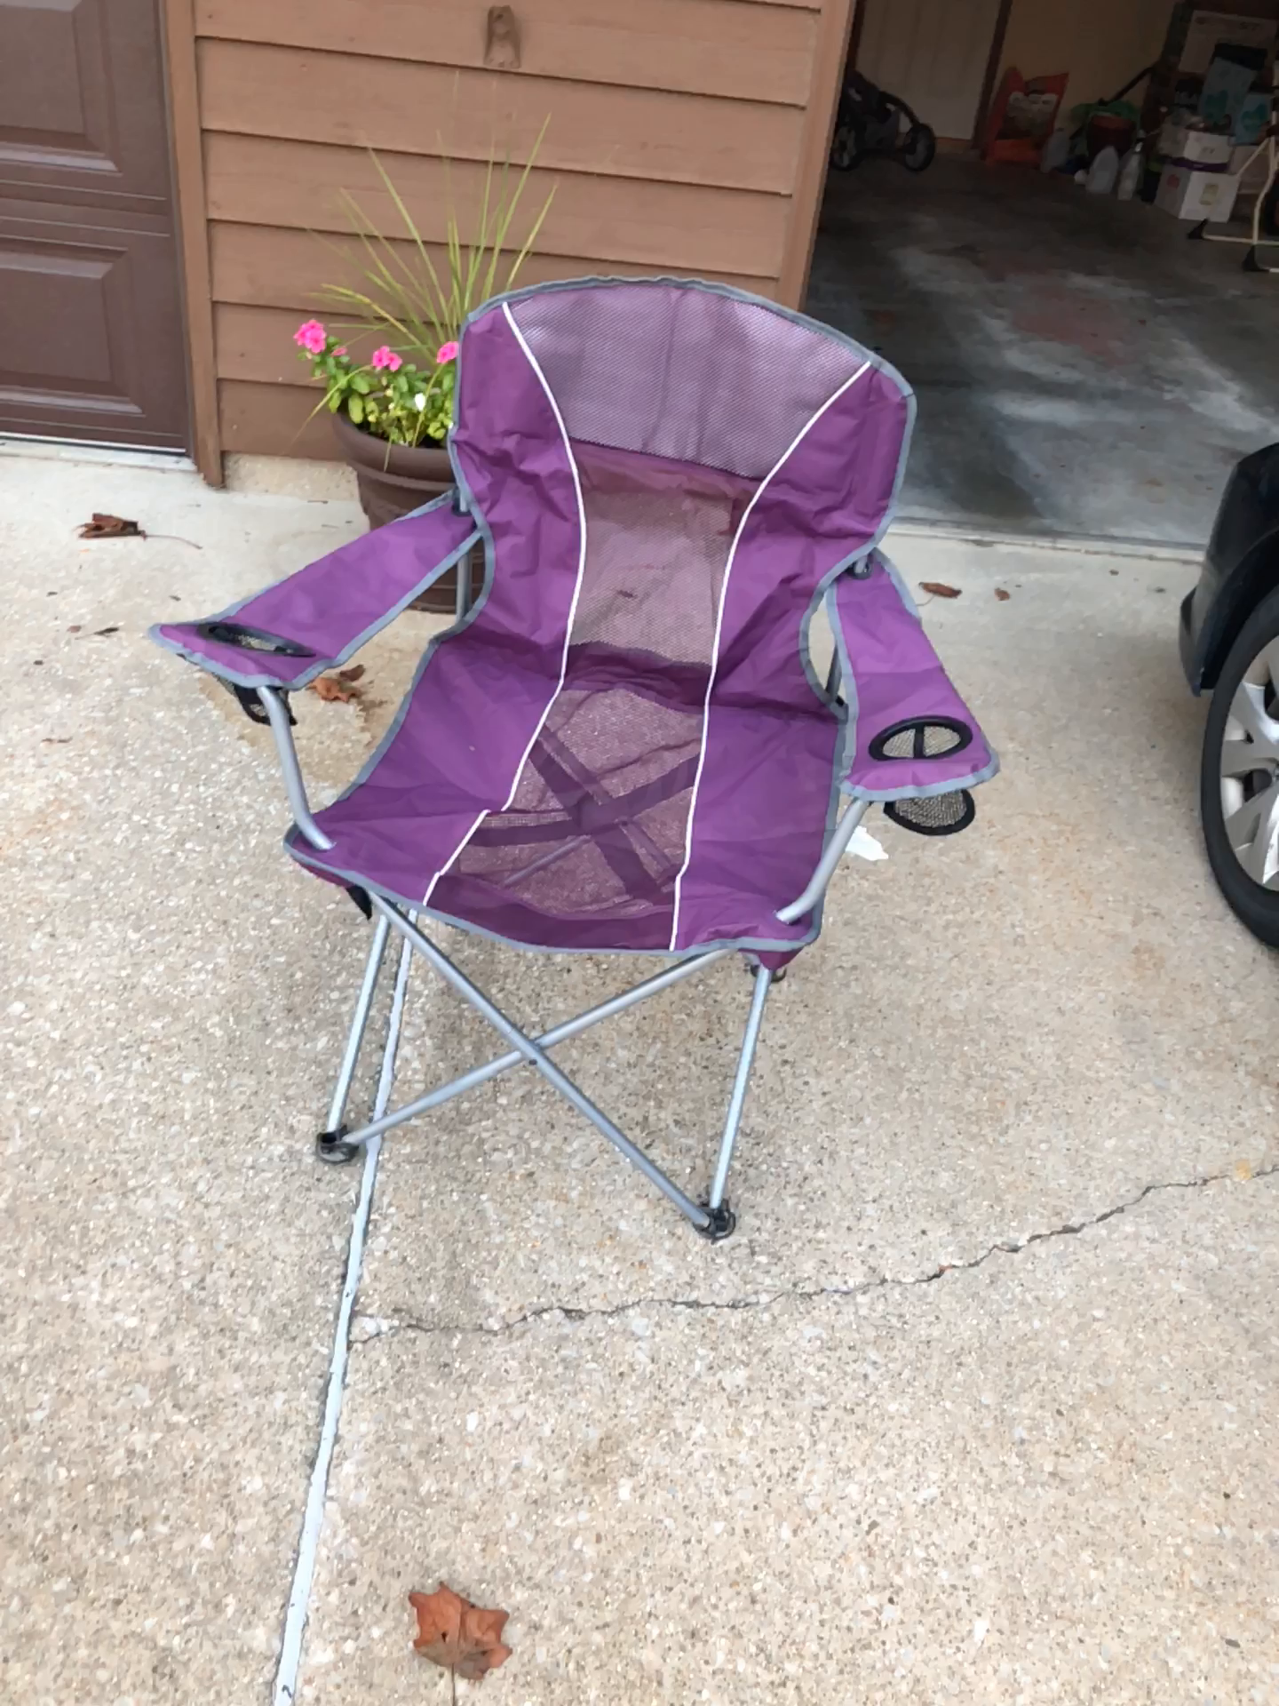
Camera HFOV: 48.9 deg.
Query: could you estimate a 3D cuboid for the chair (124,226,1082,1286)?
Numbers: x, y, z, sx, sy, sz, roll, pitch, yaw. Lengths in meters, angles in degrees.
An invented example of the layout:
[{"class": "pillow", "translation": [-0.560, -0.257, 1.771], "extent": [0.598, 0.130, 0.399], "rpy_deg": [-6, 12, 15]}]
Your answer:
[{"class": "chair", "translation": [-0.026, -0.143, 1.630], "extent": [0.760, 0.877, 0.712], "rpy_deg": [10, 34, 4]}]
